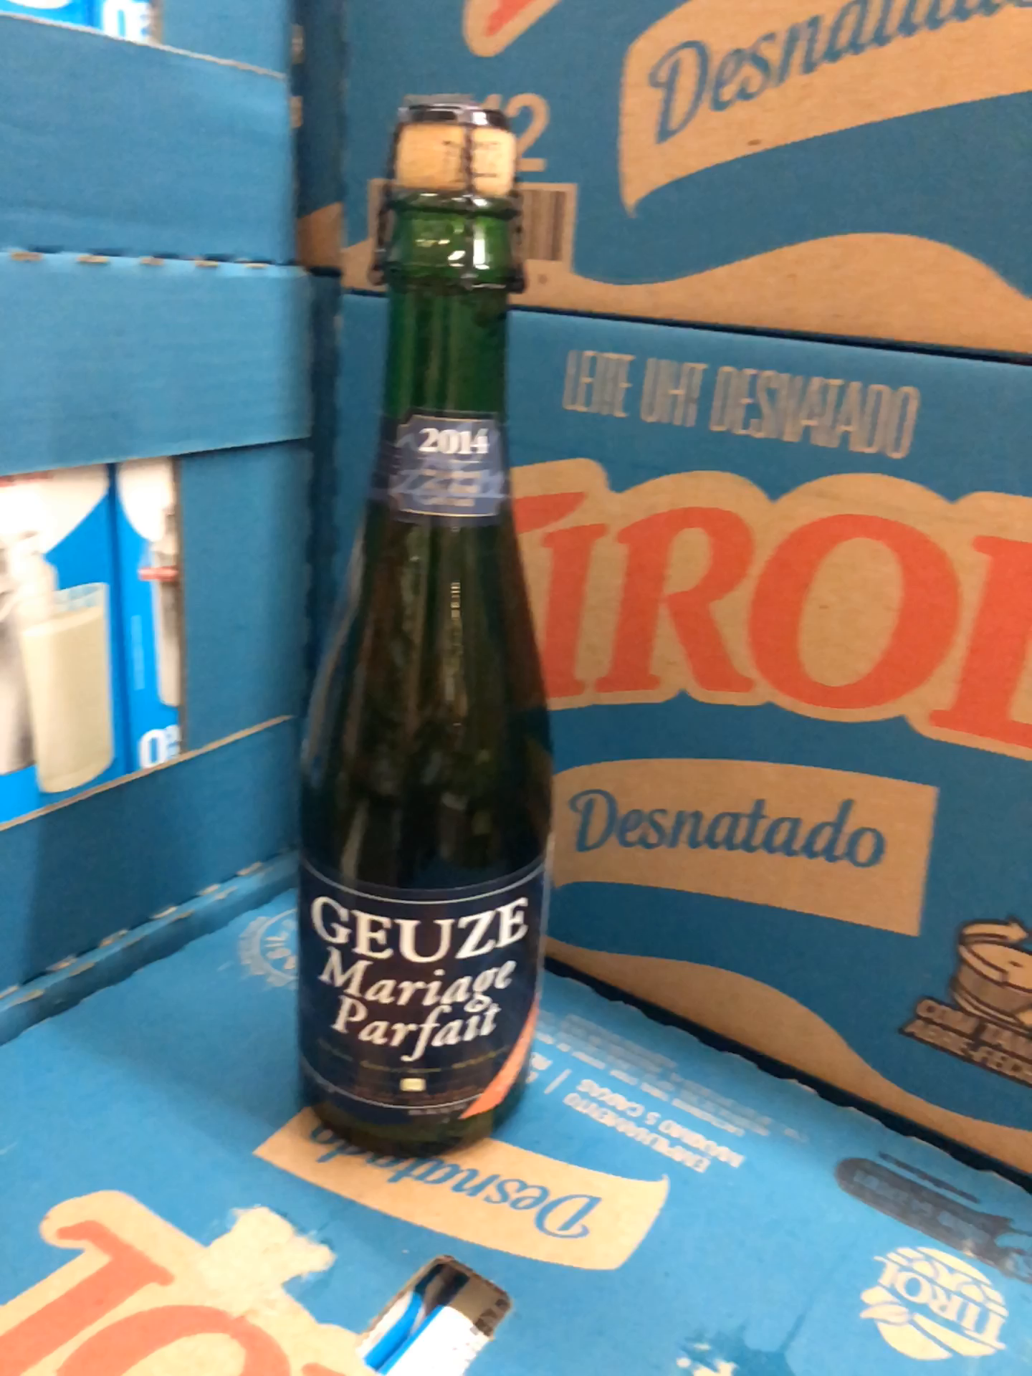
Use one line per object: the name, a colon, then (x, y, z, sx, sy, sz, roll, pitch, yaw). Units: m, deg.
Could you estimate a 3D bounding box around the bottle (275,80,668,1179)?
bottle: (-0.020, -0.002, 0.290, 0.070, 0.258, 0.060, 3, 20, -8)
